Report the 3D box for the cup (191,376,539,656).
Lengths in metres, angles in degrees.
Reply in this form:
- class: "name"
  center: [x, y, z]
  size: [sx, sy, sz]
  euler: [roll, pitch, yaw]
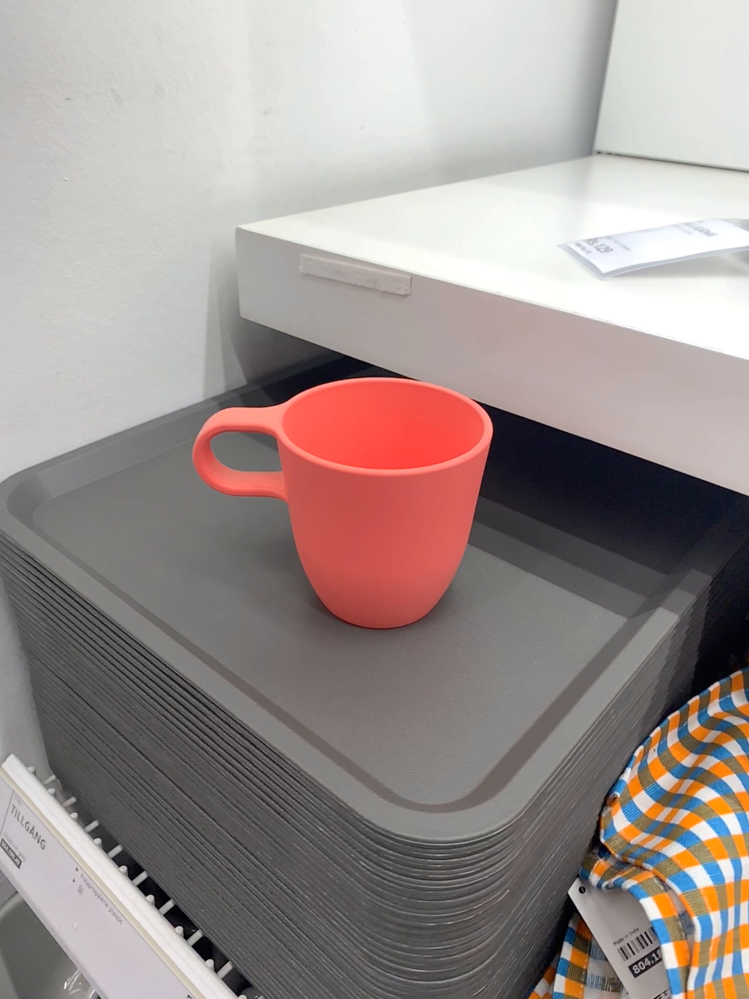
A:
- class: "cup"
  center: [-0.006, 0.005, 0.295]
  size: [0.110, 0.080, 0.070]
  euler: [0, 31, -4]
